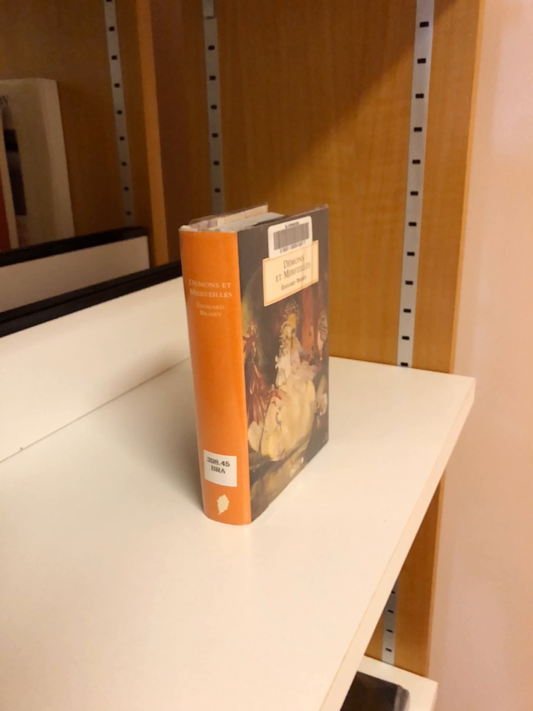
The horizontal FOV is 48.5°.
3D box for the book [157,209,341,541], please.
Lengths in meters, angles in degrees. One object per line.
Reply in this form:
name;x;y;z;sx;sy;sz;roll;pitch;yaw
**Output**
book;-0.001;0.001;0.337;0.047;0.155;0.114;7;20;27
